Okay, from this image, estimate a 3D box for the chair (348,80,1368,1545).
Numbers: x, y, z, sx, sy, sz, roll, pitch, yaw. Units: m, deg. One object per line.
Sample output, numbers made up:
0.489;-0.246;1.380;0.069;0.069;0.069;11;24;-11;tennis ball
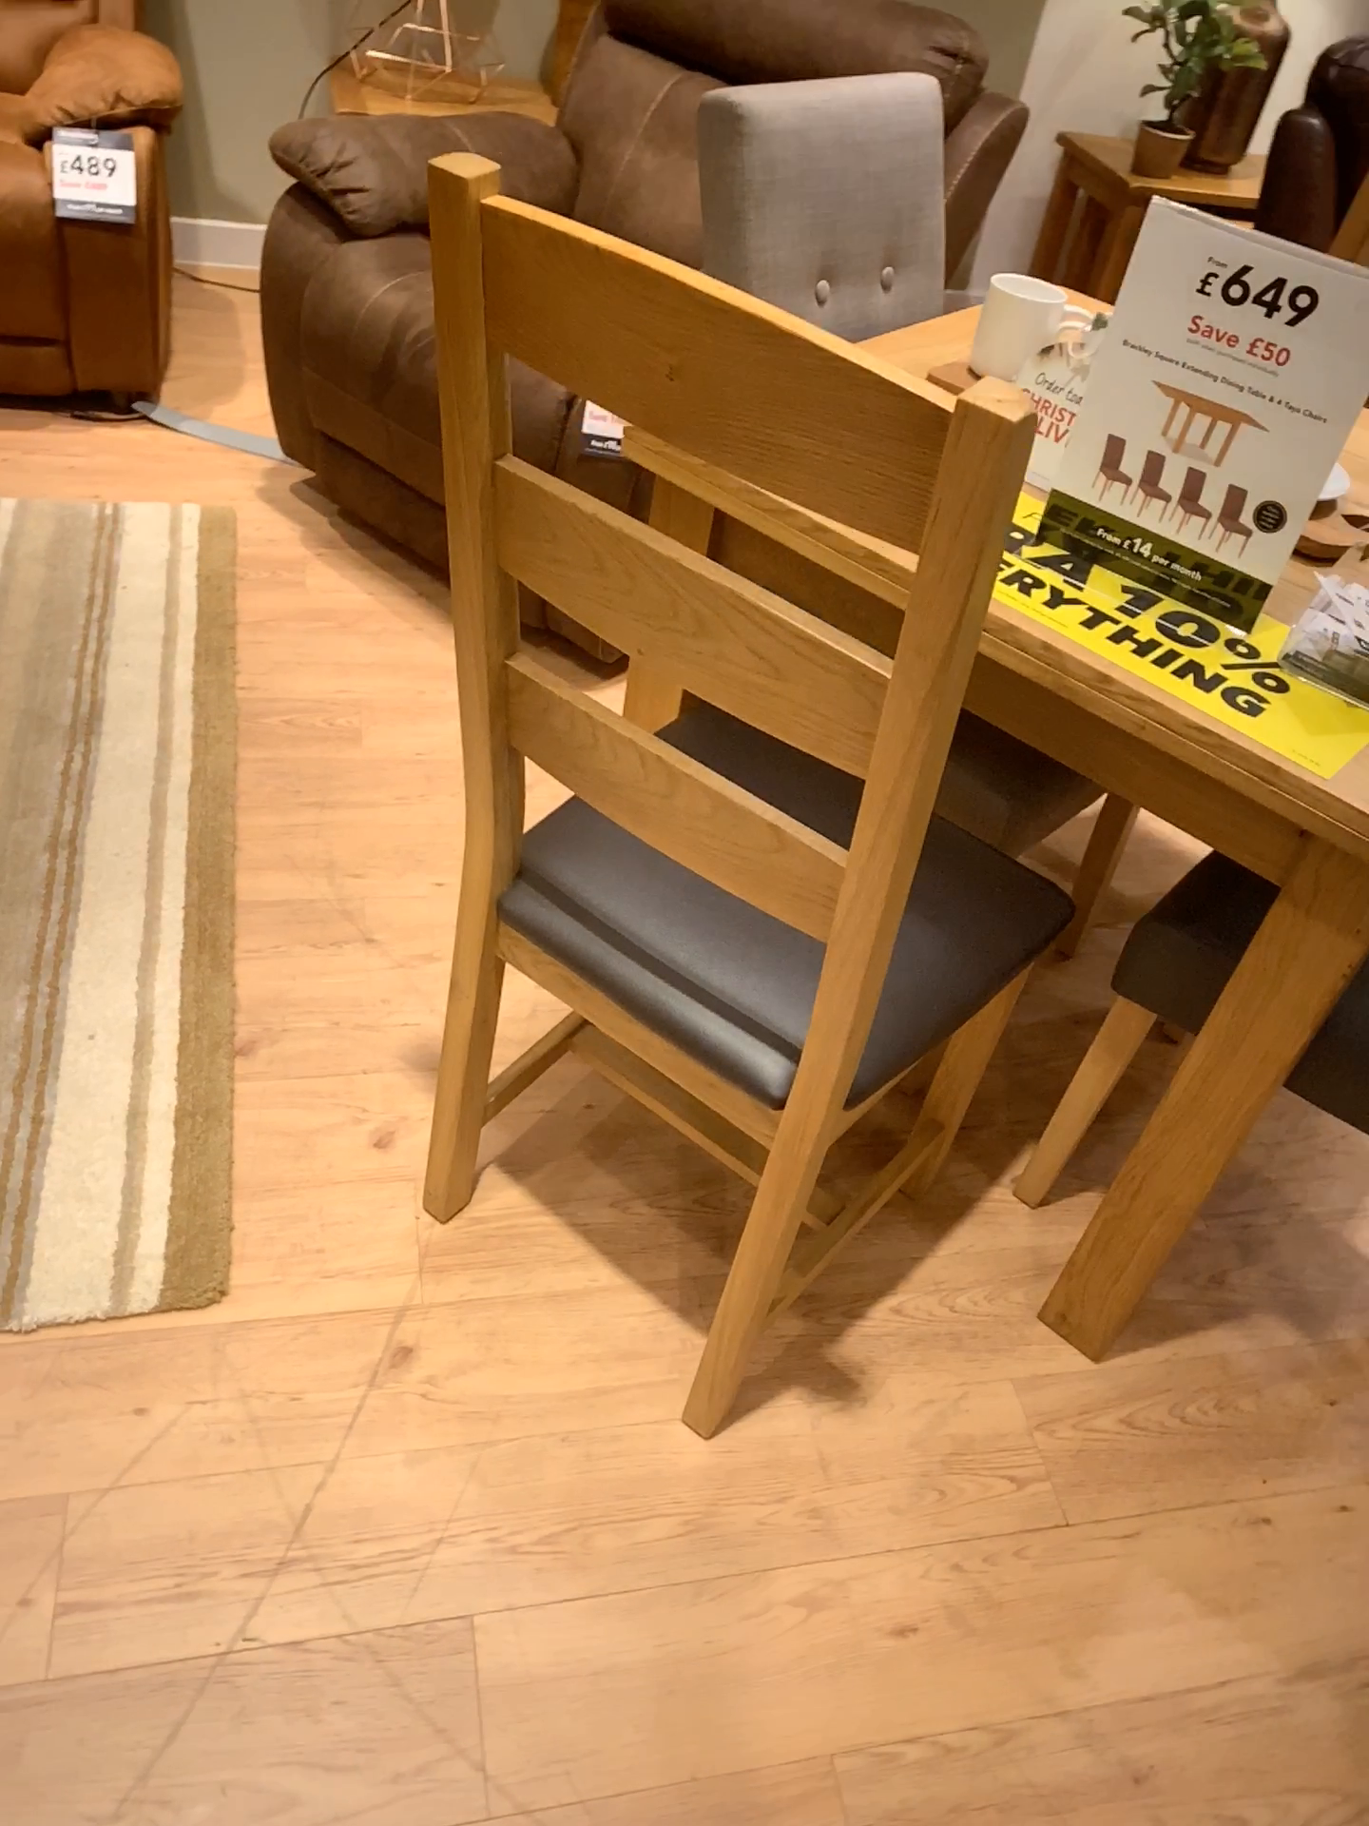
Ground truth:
0.075;-0.043;1.247;0.472;1.100;0.553;34;46;24;chair
